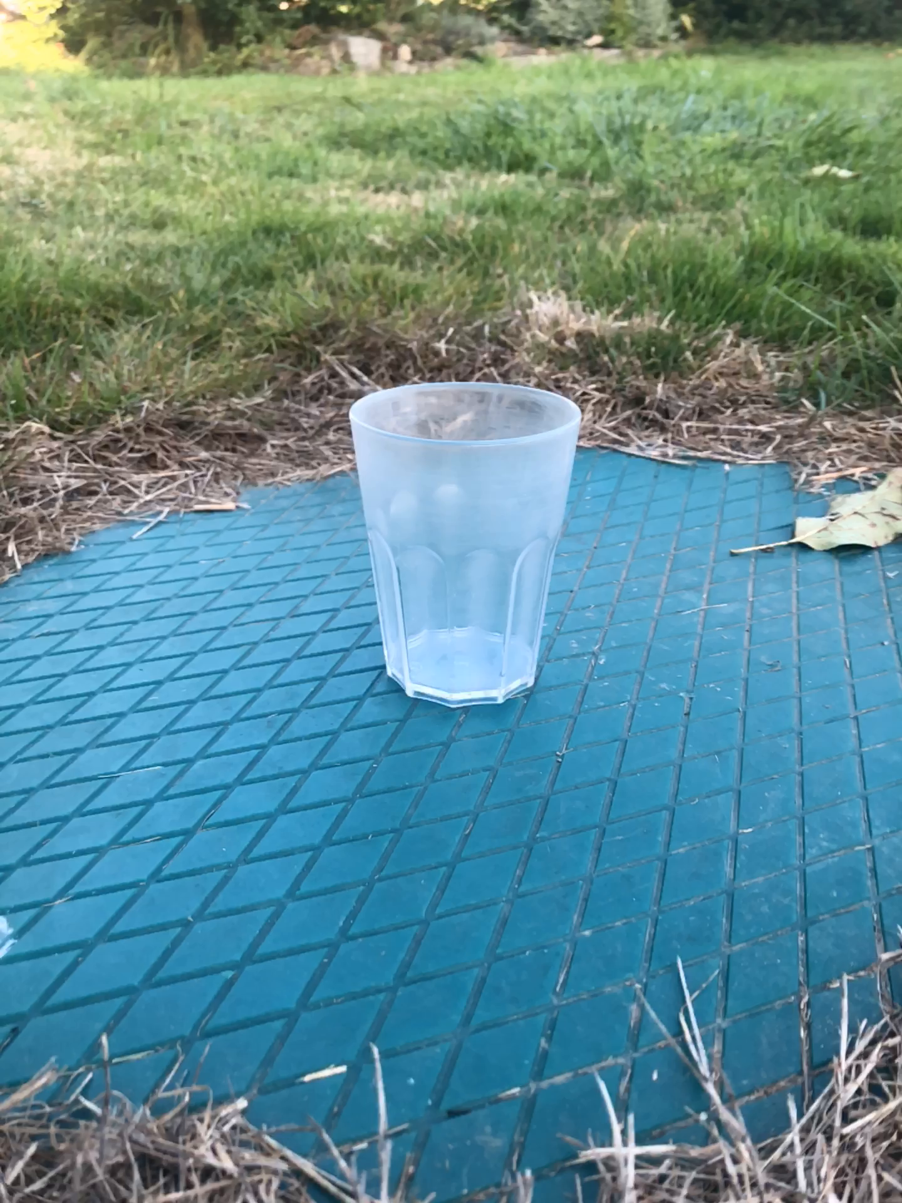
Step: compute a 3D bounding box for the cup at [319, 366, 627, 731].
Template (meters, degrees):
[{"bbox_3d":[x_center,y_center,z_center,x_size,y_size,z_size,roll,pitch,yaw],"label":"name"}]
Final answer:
[{"bbox_3d":[0.012,-0.027,0.402,0.091,0.113,0.088,-1,24,0],"label":"cup"}]
